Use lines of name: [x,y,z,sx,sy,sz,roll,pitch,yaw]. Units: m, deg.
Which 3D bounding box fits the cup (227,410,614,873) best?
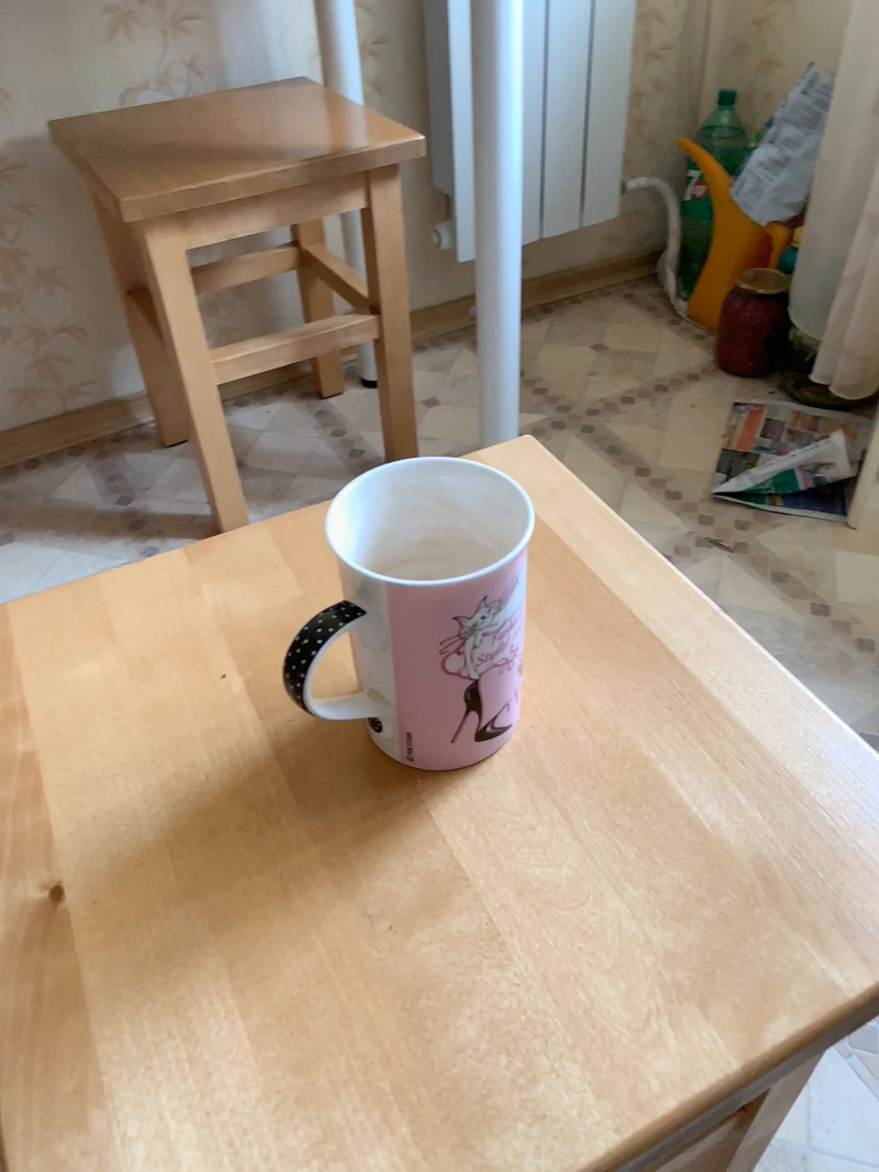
cup: [-0.001,0.017,0.335,0.074,0.107,0.114,26,49,29]
